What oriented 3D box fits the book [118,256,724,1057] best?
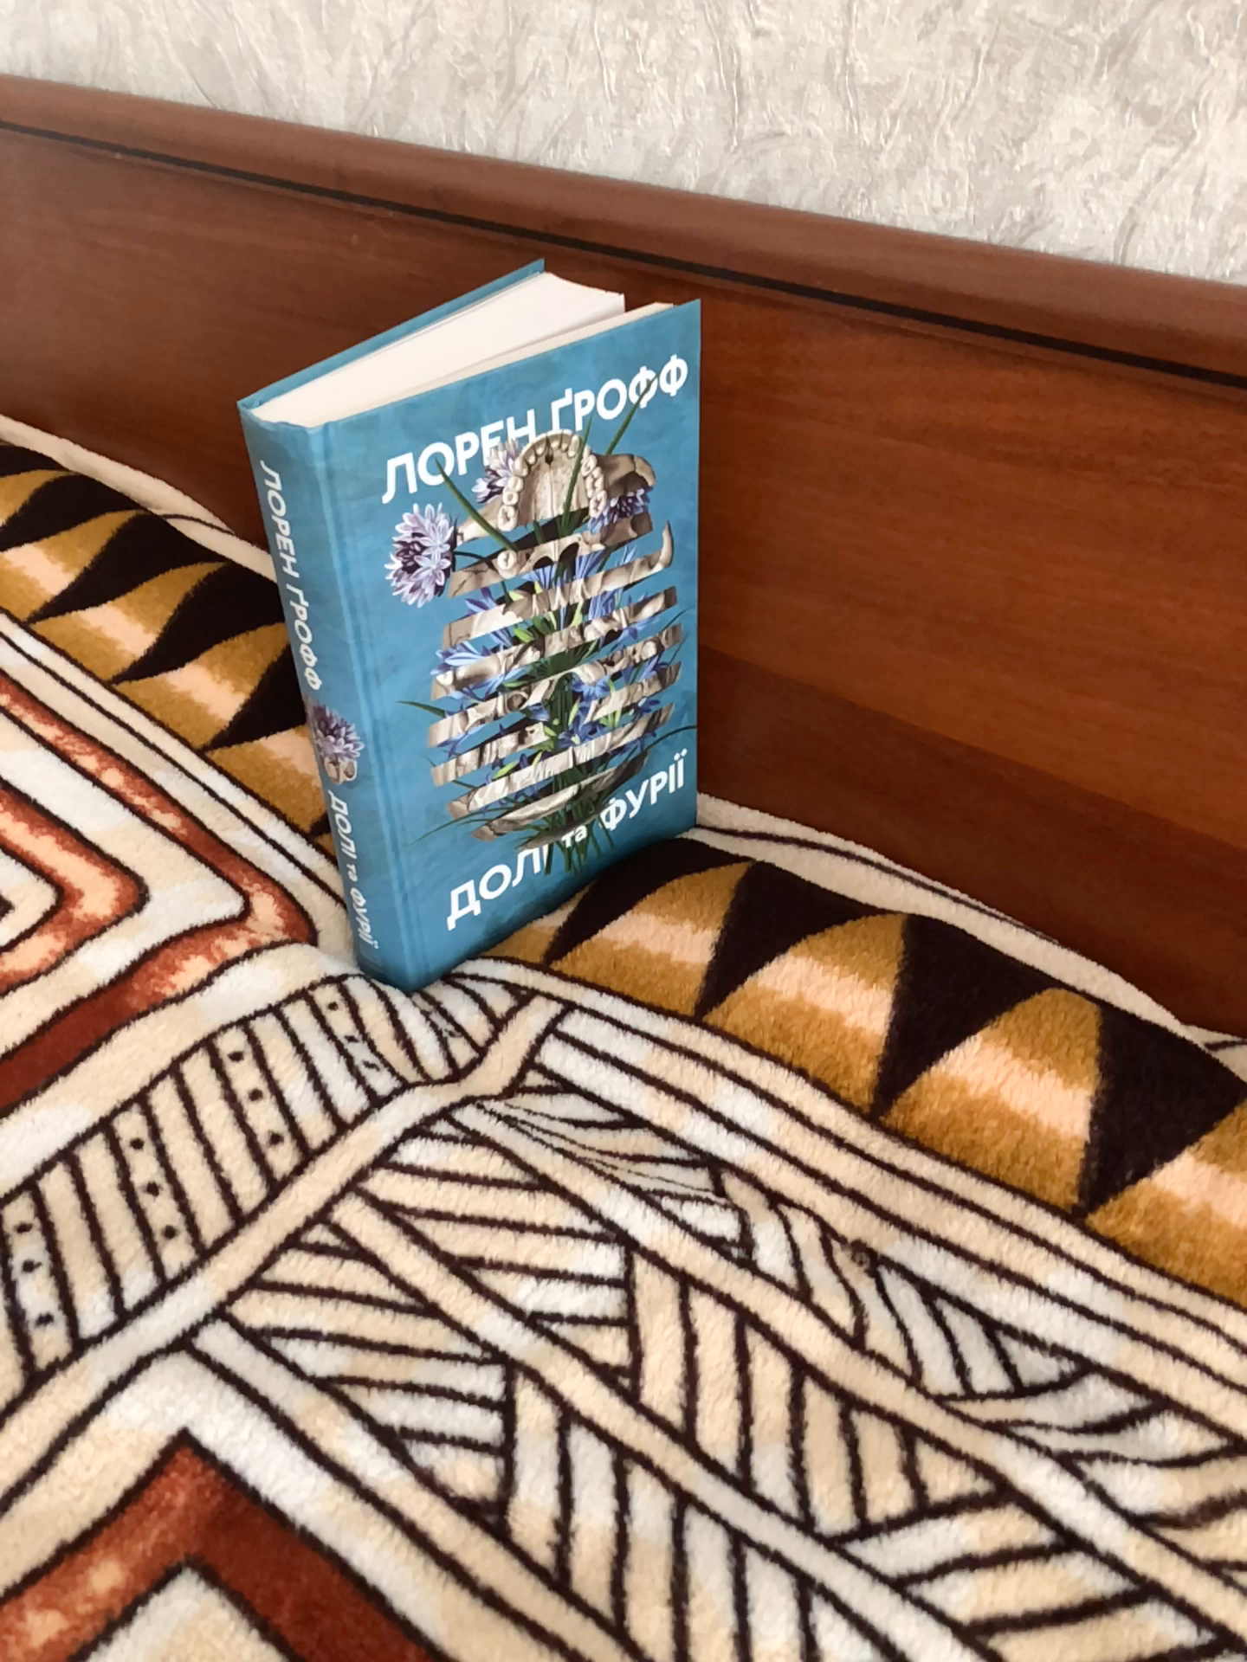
[{"bbox_3d":[-0.051,-0.059,0.449,0.078,0.199,0.161,28,47,30],"label":"book"}]
